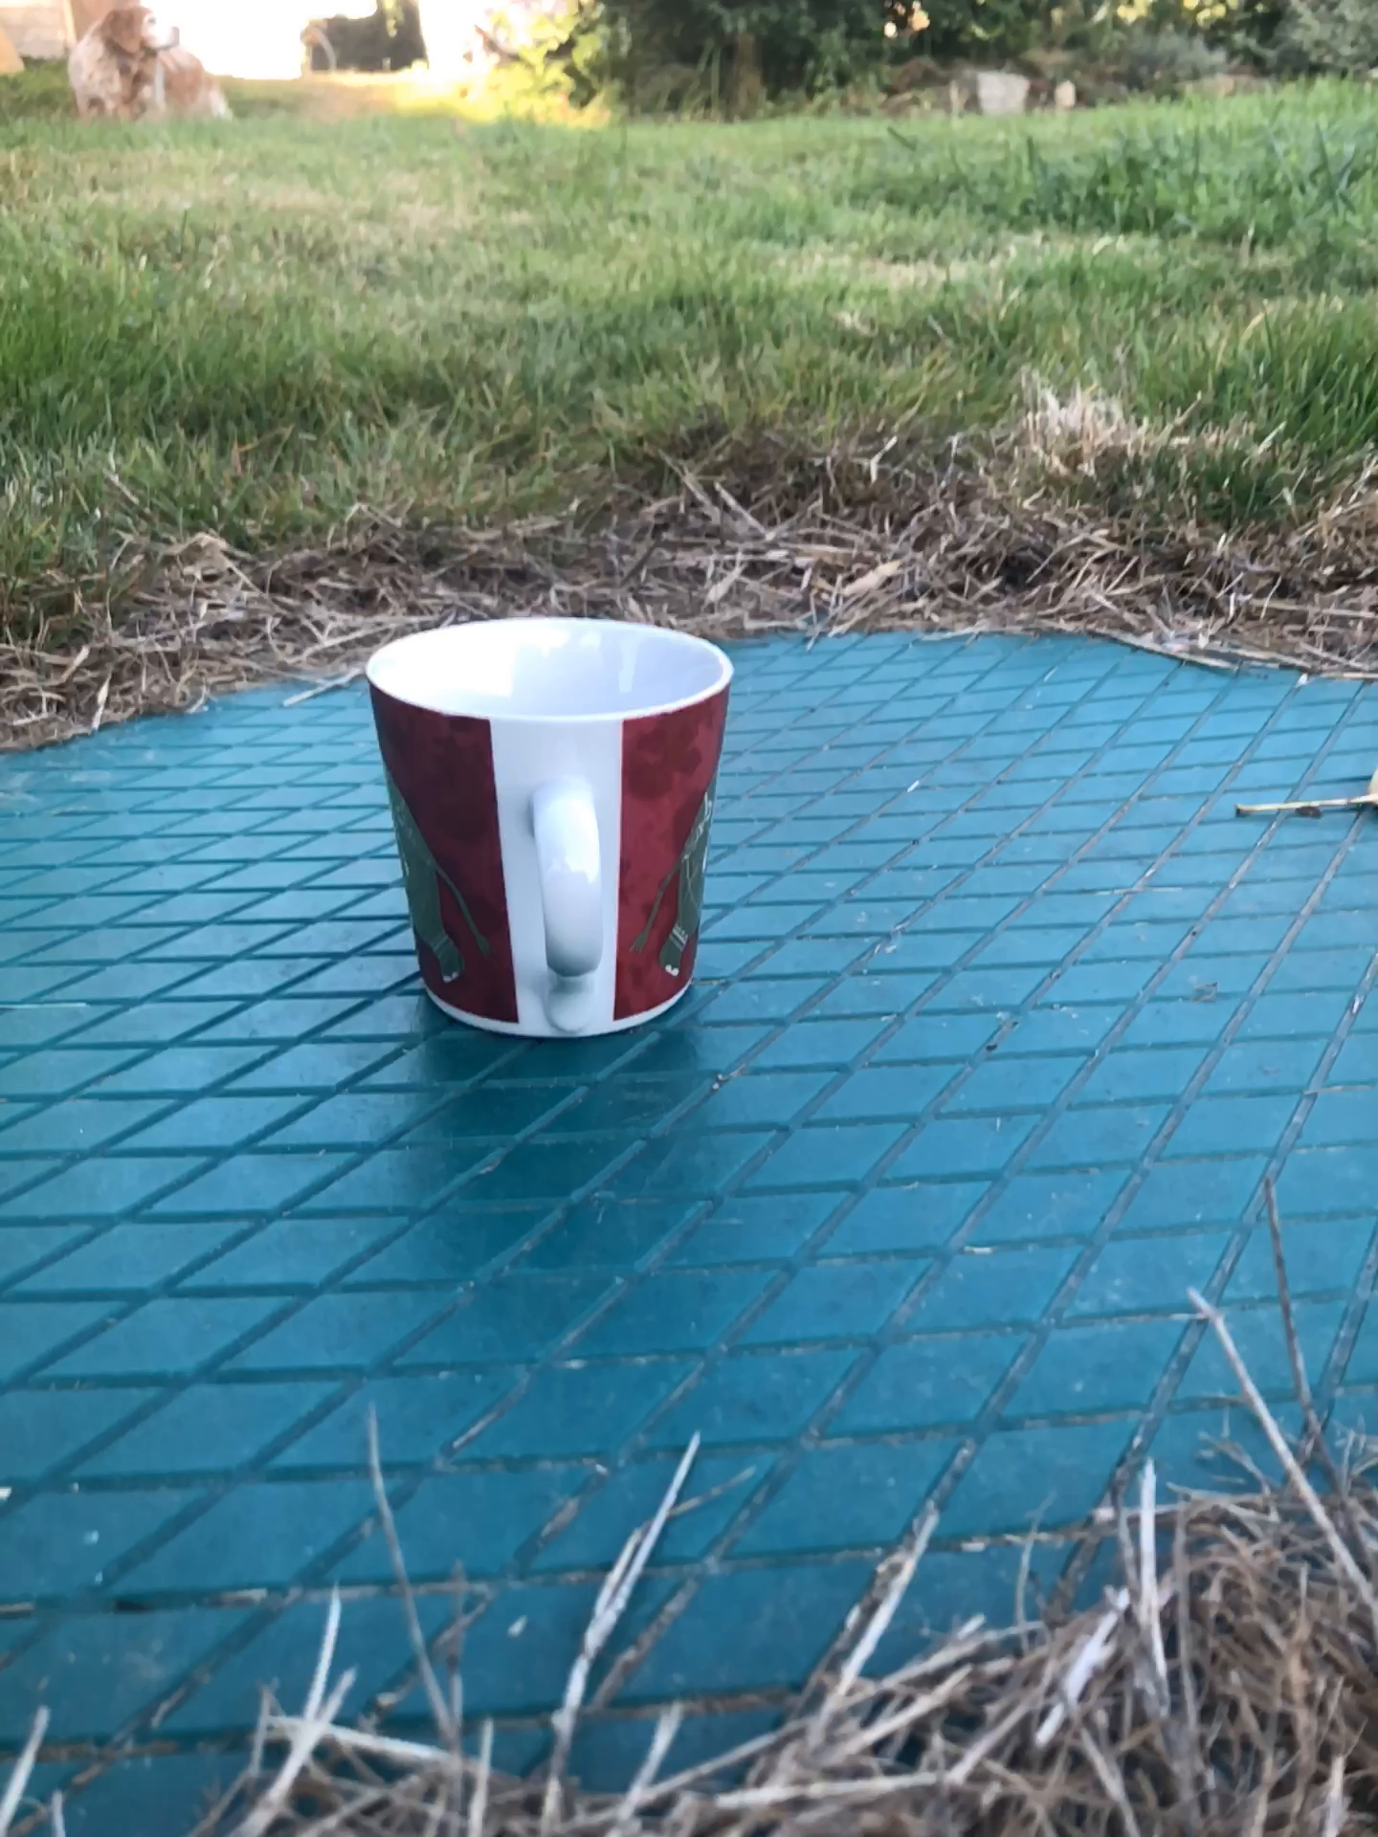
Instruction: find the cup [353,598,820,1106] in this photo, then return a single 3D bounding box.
[{"bbox_3d":[-0.024,-0.021,0.329,0.082,0.070,0.110,-3,25,-6],"label":"cup"}]
